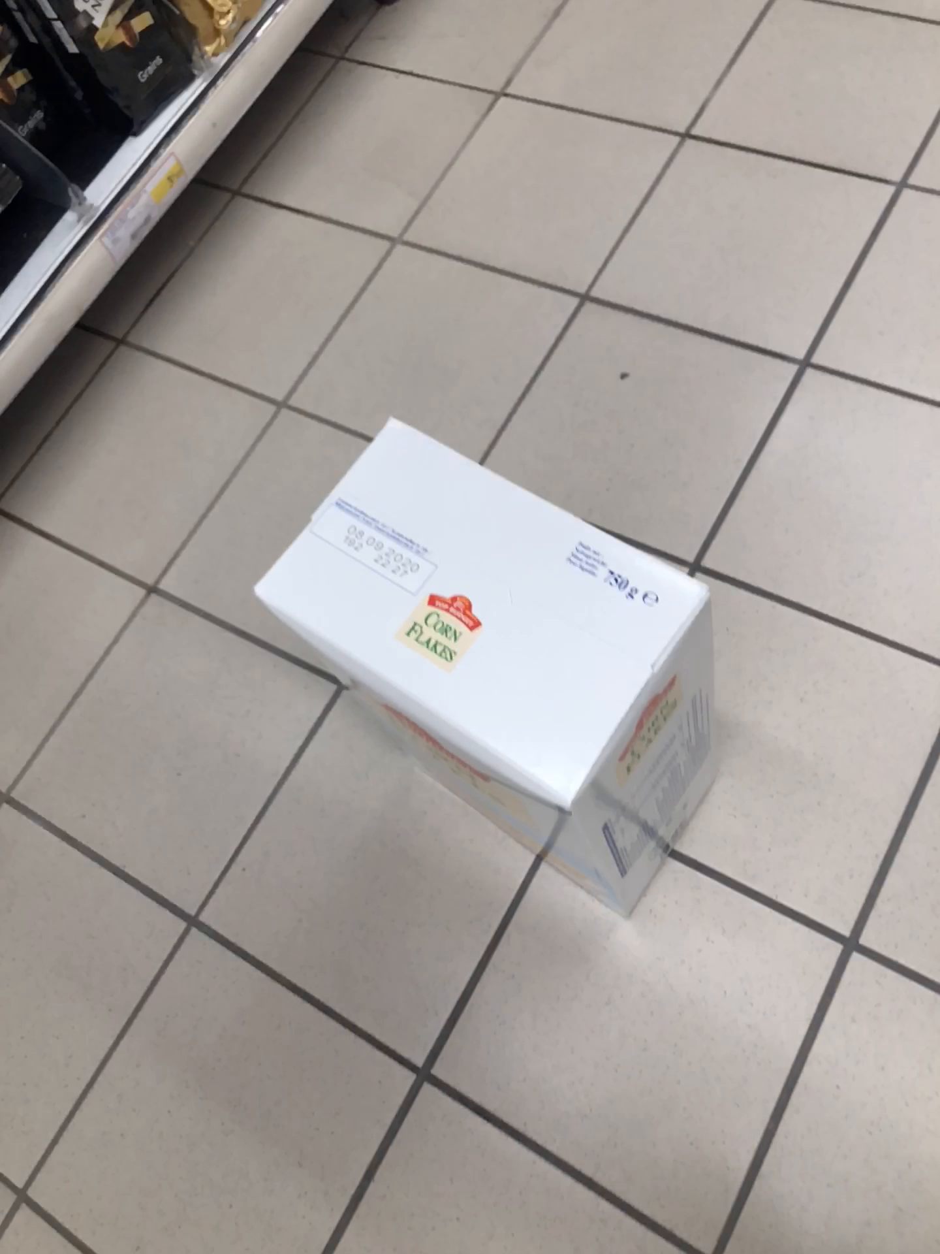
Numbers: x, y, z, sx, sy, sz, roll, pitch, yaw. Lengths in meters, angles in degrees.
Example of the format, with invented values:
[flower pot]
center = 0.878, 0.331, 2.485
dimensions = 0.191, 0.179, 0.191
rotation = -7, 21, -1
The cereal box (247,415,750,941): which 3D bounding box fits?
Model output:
[cereal box]
center = 0.038, 0.047, 0.597
dimensions = 0.200, 0.289, 0.120
rotation = 31, 76, 25
